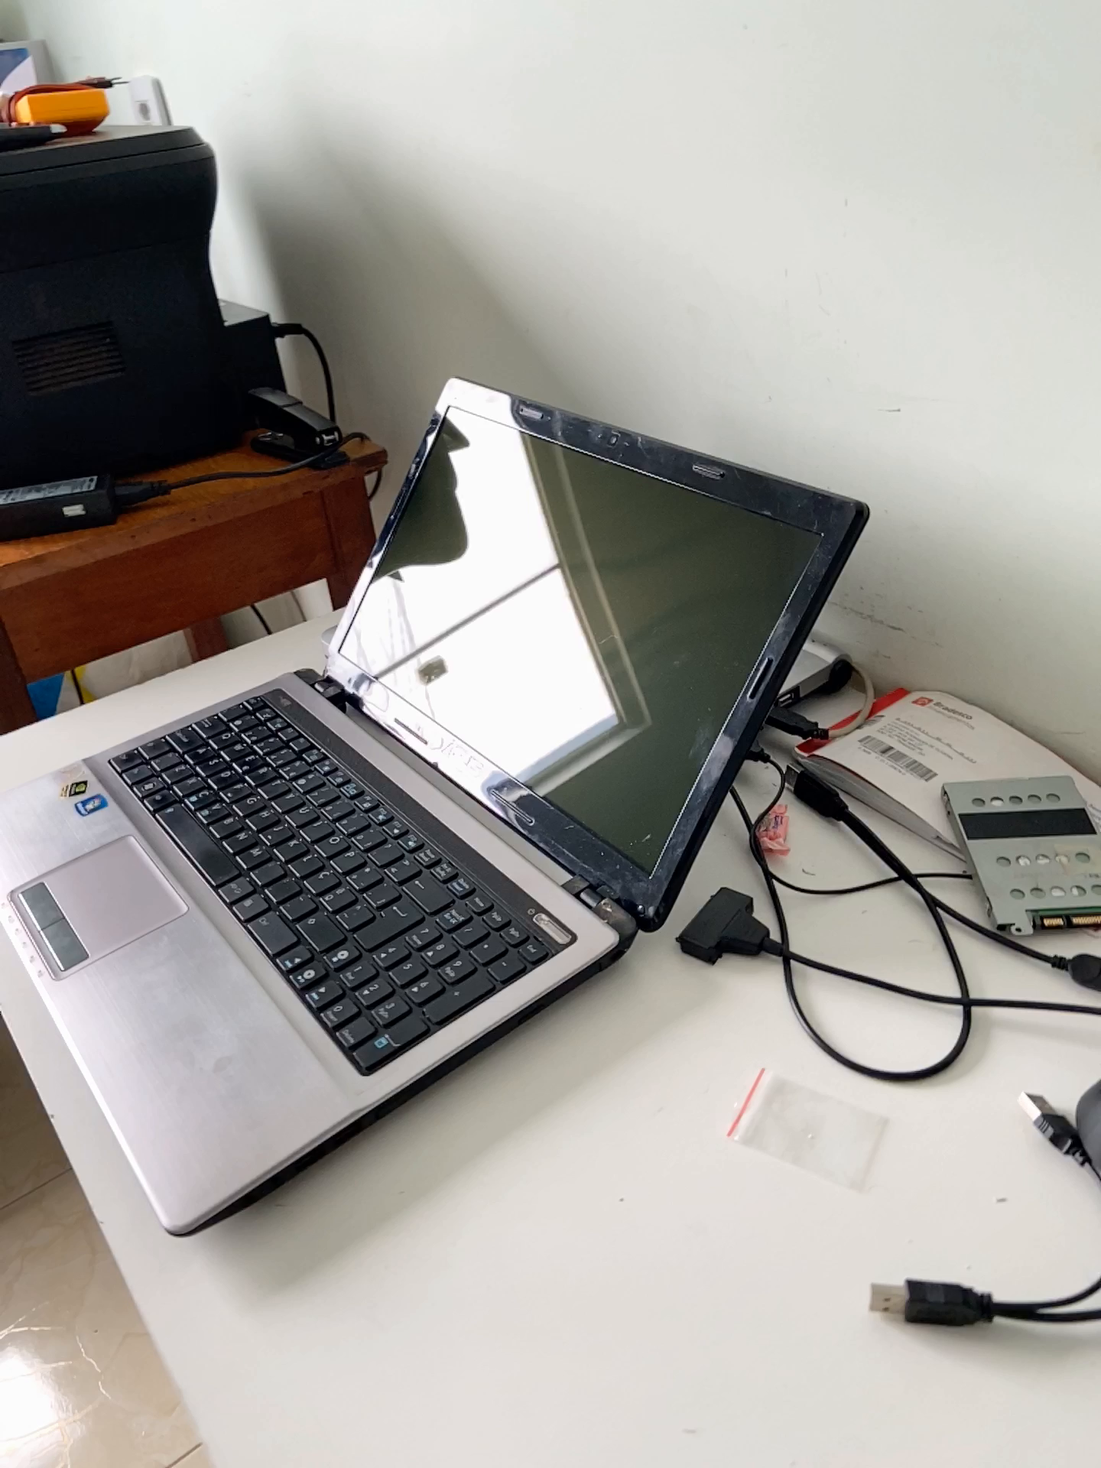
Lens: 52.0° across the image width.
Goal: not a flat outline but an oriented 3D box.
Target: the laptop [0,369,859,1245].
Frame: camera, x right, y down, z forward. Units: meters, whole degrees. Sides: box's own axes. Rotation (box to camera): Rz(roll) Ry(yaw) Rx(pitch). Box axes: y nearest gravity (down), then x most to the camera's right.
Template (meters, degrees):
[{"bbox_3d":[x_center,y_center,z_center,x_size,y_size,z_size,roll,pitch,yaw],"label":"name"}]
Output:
[{"bbox_3d":[-0.114,-0.029,0.638,0.416,0.179,0.377,-28,38,-27],"label":"laptop"}]
